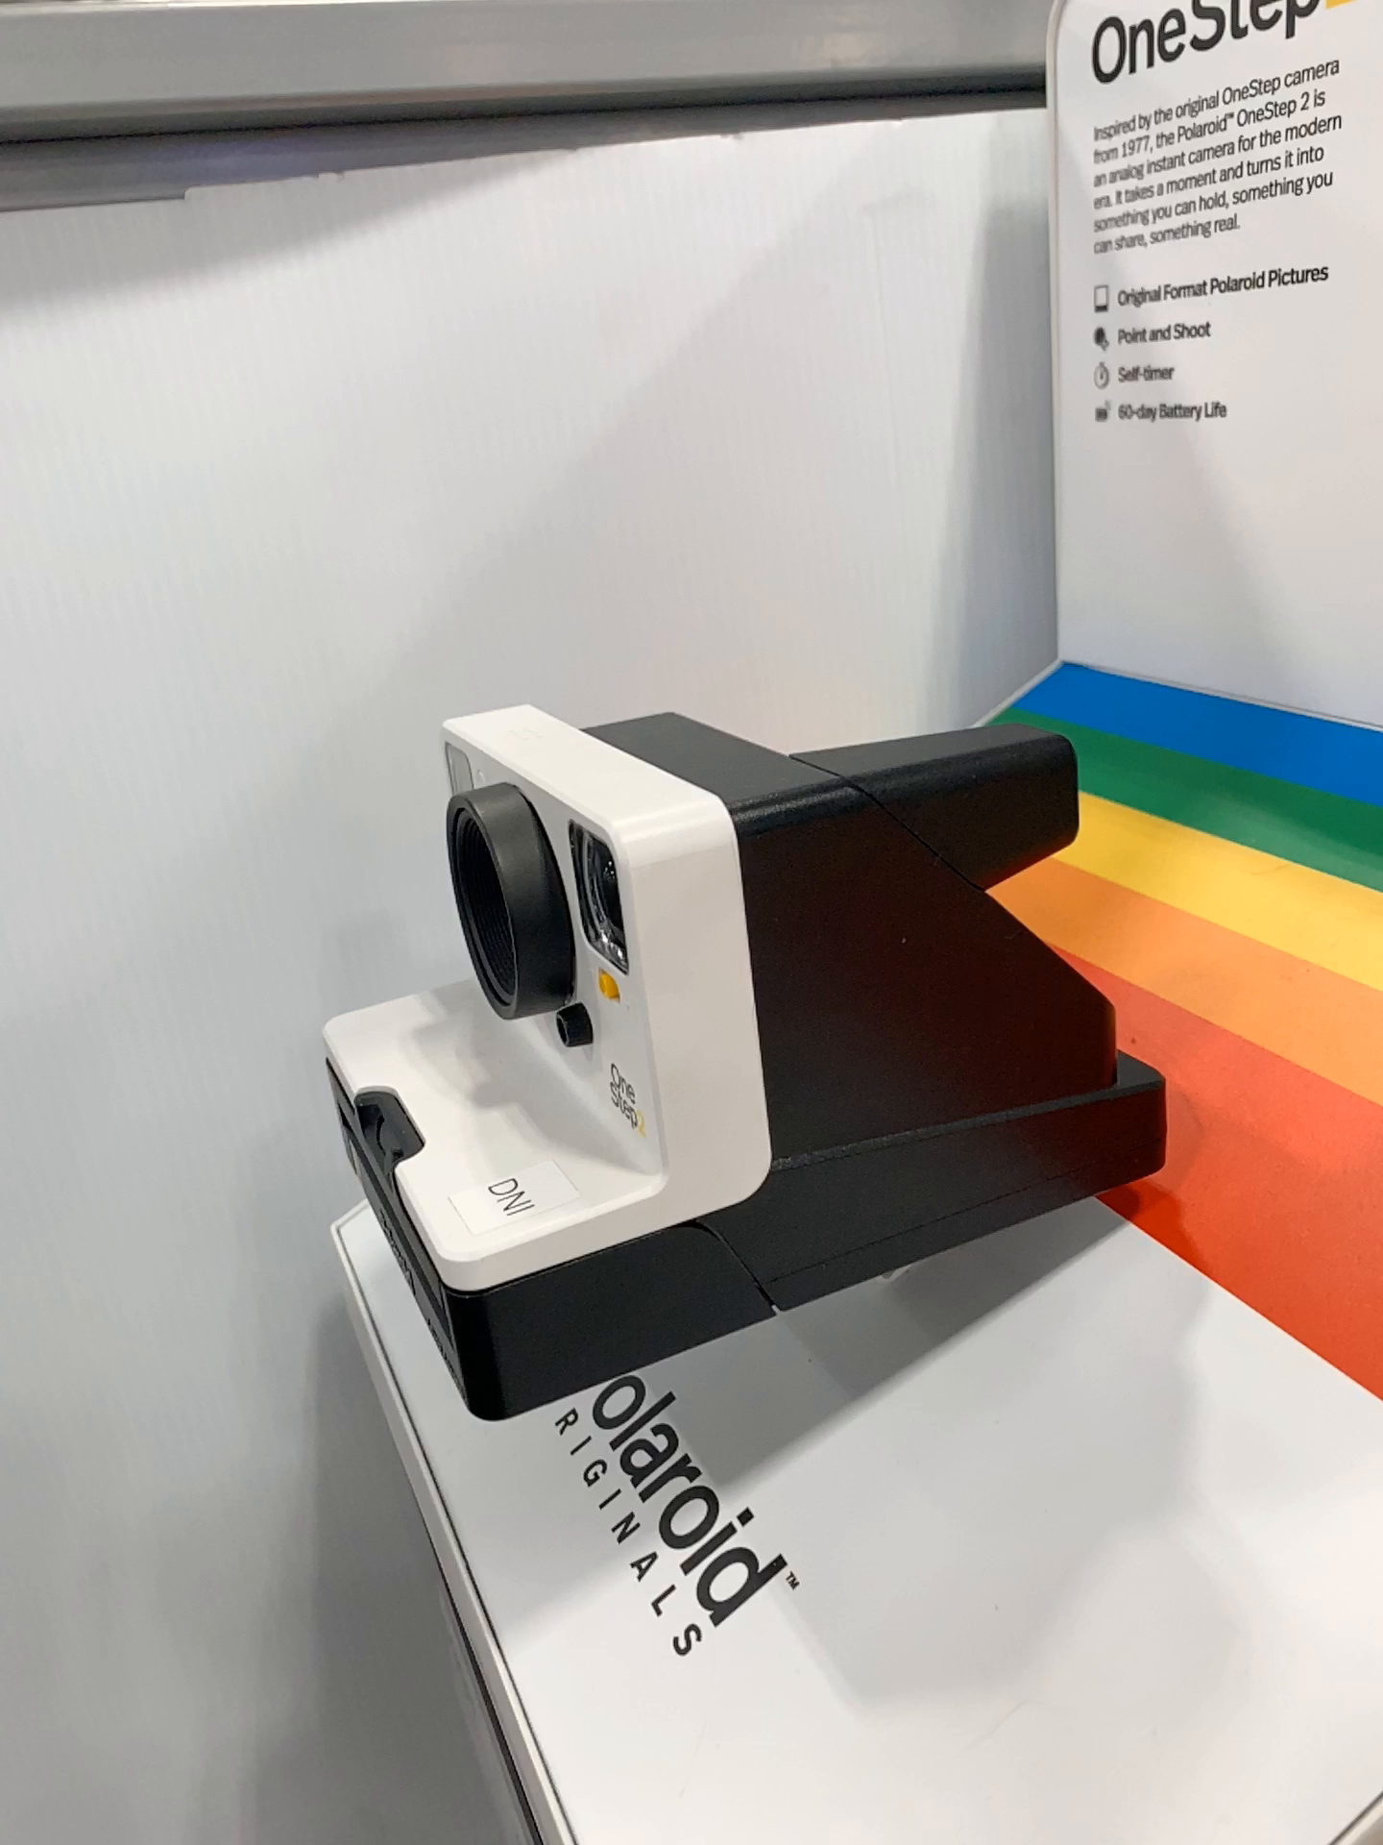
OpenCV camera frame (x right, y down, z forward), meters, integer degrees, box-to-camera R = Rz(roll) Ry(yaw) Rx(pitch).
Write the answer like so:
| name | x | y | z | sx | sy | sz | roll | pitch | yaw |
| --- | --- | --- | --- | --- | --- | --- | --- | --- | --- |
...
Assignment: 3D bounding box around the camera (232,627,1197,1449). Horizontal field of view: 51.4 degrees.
| name | x | y | z | sx | sy | sz | roll | pitch | yaw |
| --- | --- | --- | --- | --- | --- | --- | --- | --- | --- |
| camera | 0.000 | 0.005 | 0.285 | 0.144 | 0.090 | 0.121 | -15 | 22 | -20 |
